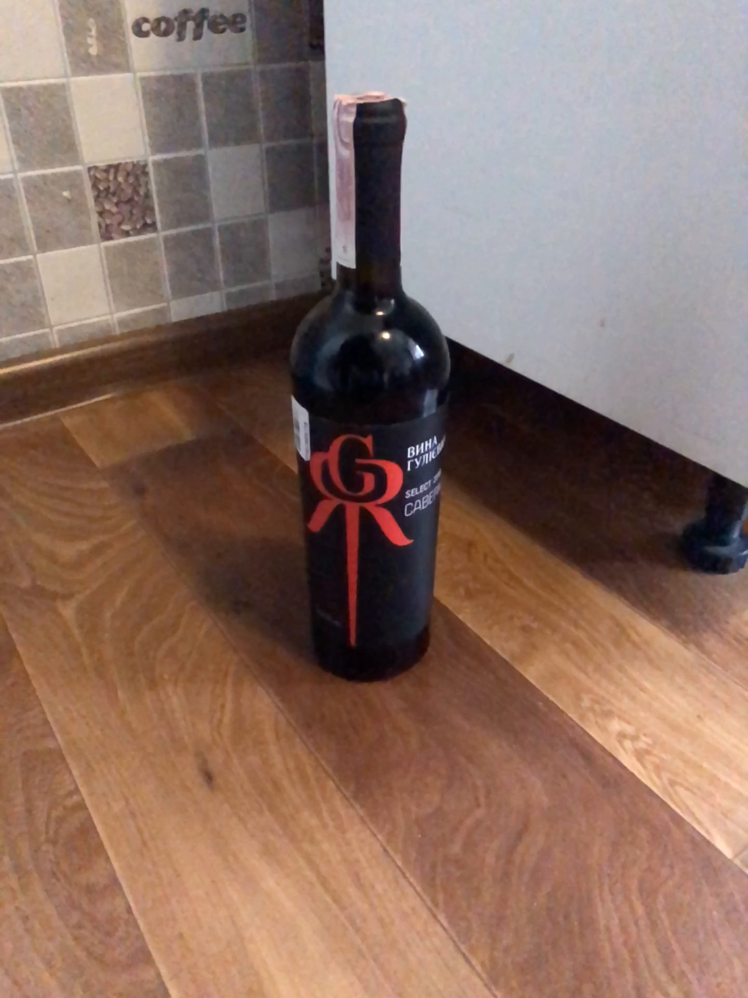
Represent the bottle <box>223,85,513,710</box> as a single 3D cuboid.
[{"bbox_3d":[-0.005,-0.042,0.427,0.090,0.297,0.090,0,32,0],"label":"bottle"}]
